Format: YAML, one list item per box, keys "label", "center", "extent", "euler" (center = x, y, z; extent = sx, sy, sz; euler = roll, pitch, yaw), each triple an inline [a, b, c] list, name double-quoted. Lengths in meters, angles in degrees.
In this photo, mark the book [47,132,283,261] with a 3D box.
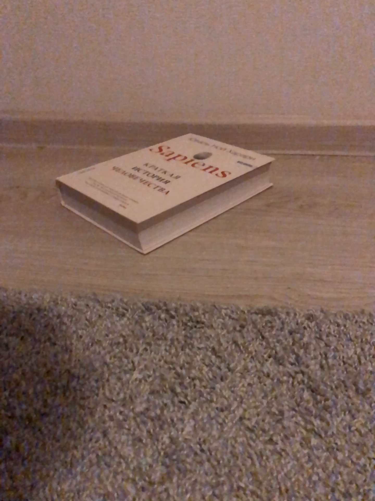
- label: "book"
  center: [-0.024, -0.093, 0.563]
  extent: [0.187, 0.040, 0.259]
  euler: [27, 43, 36]
